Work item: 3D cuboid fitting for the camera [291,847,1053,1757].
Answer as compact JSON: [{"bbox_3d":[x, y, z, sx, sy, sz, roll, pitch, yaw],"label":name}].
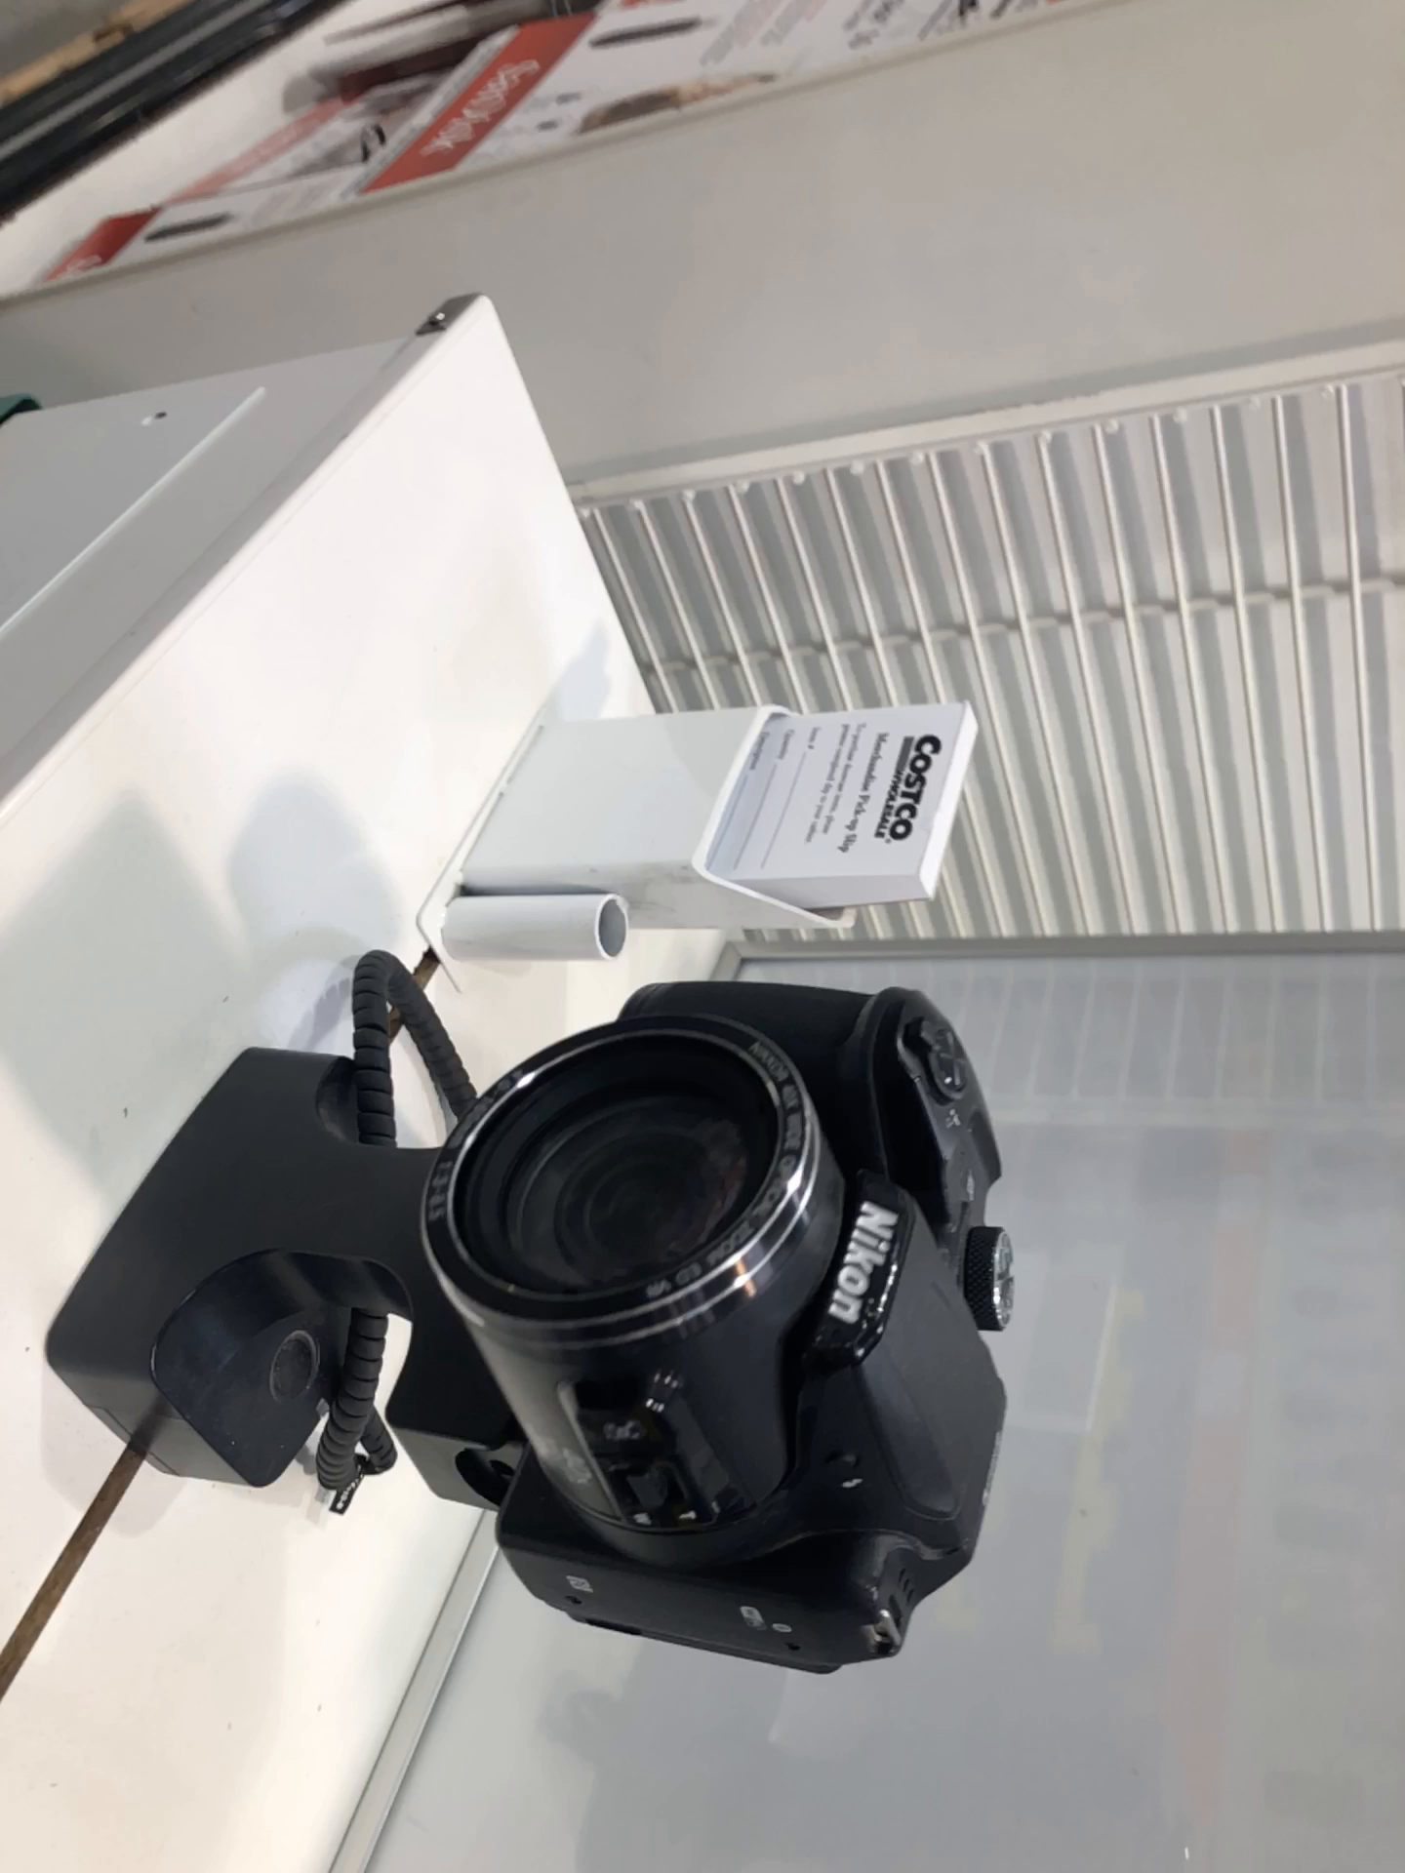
[{"bbox_3d":[0.008,0.062,0.282,0.101,0.079,0.116,67,33,-40],"label":"camera"}]
